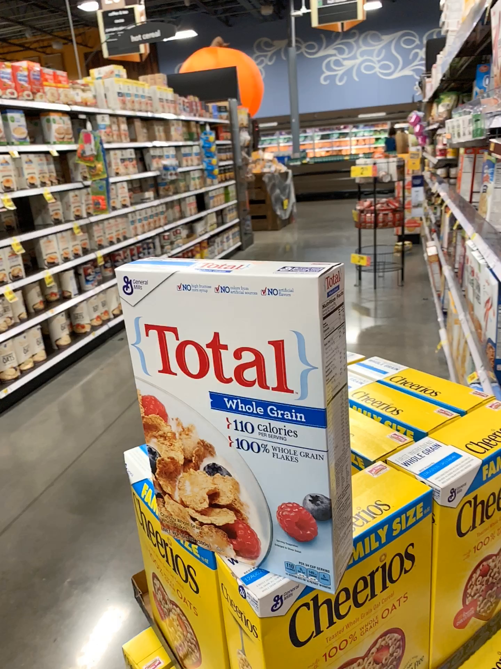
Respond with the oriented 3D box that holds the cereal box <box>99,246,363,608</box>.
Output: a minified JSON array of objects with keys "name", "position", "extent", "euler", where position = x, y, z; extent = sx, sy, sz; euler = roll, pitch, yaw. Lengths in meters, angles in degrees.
[{"name":"cereal box","position":[-0.014,0.075,0.463],"extent":[0.210,0.299,0.050],"euler":[5,22,30]}]
